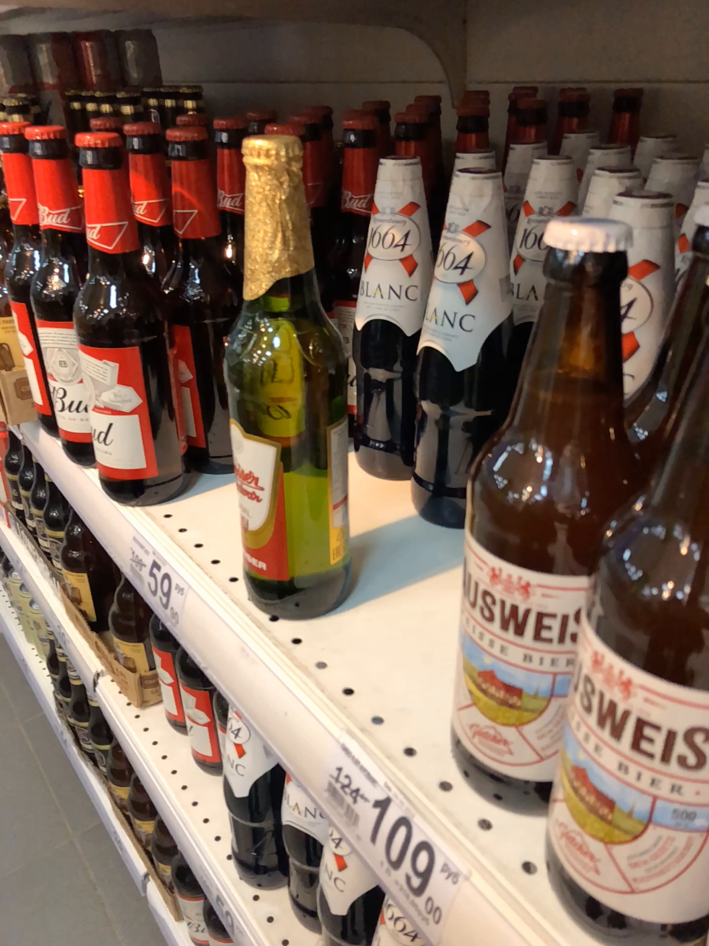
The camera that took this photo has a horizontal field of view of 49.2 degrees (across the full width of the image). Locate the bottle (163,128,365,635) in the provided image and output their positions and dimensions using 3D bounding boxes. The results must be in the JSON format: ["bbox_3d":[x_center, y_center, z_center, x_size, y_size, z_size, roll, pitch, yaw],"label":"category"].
[{"bbox_3d":[-0.045,-0.045,0.424,0.070,0.254,0.080,-11,29,-16],"label":"bottle"}]
